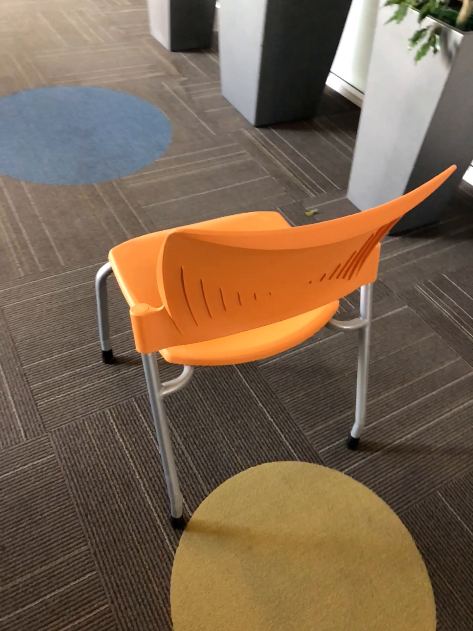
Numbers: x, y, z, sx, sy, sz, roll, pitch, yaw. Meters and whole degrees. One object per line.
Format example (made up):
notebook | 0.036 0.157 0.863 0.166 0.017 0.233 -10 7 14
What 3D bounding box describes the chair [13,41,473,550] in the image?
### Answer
chair | -0.004 -0.061 1.131 0.641 0.747 0.612 -18 51 -22
